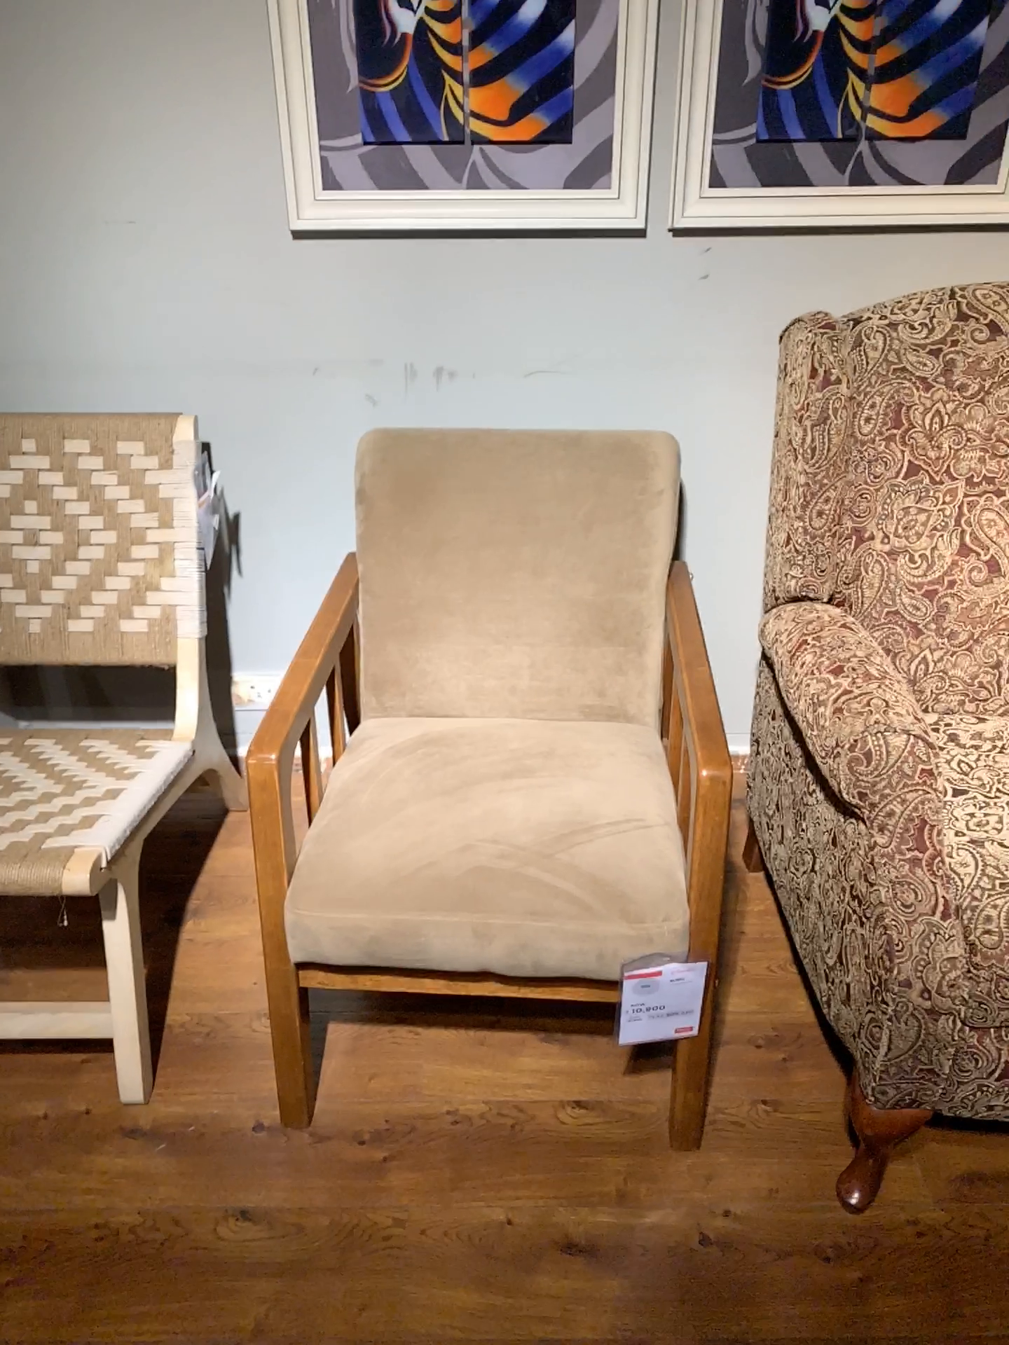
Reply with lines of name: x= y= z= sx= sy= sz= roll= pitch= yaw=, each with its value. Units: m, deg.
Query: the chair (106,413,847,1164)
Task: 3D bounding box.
chair: x=-0.014 y=0.097 z=1.557 sx=0.720 sy=0.737 sz=0.874 roll=1 pitch=29 yaw=2
